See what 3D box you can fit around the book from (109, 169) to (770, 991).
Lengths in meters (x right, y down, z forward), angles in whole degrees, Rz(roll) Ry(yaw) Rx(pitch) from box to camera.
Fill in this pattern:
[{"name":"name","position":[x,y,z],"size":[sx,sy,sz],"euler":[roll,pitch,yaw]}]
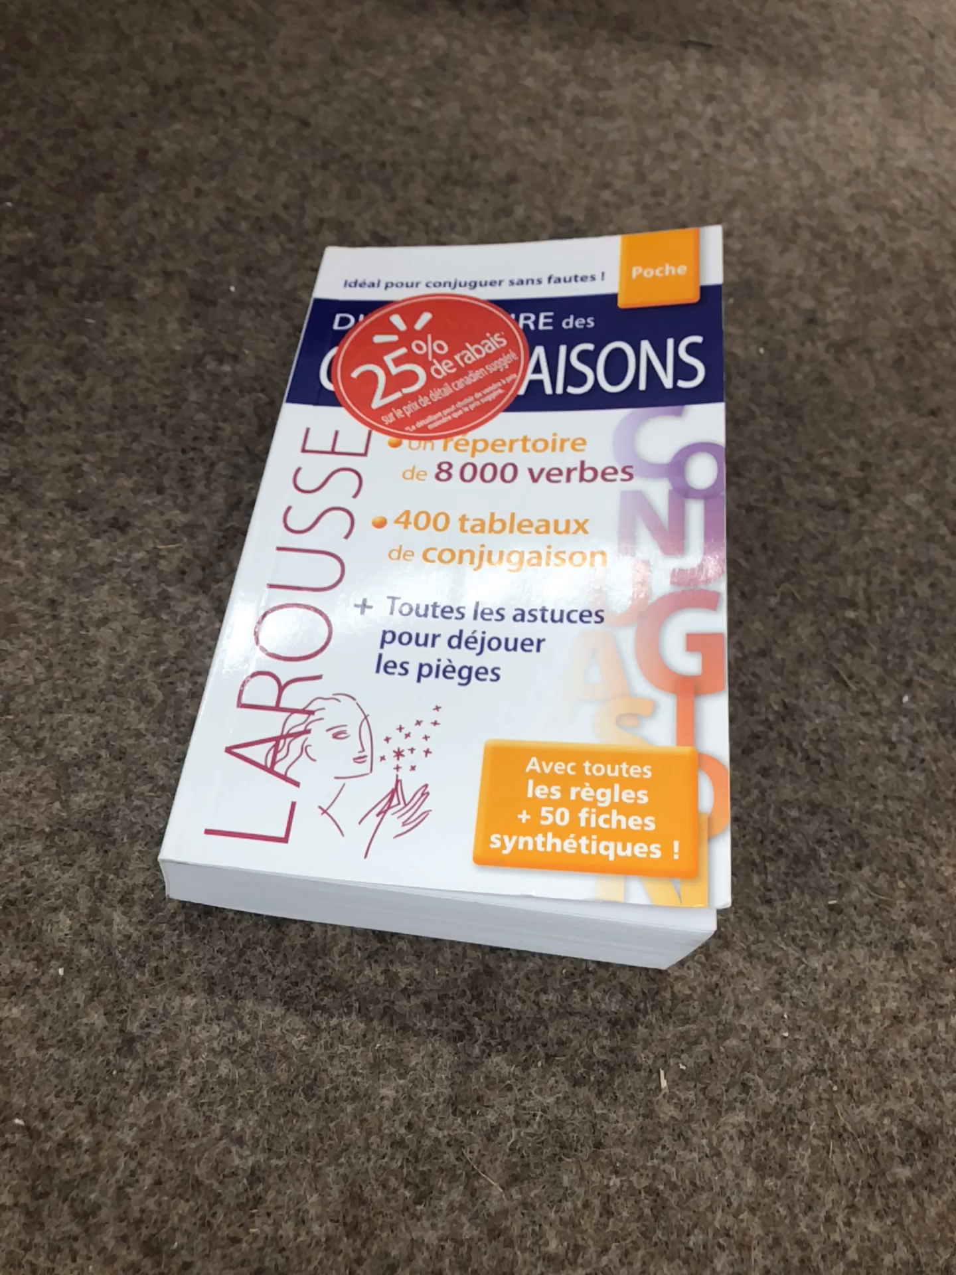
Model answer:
[{"name":"book","position":[0.002,-0.025,0.275],"size":[0.124,0.059,0.200],"euler":[7,59,1]}]
